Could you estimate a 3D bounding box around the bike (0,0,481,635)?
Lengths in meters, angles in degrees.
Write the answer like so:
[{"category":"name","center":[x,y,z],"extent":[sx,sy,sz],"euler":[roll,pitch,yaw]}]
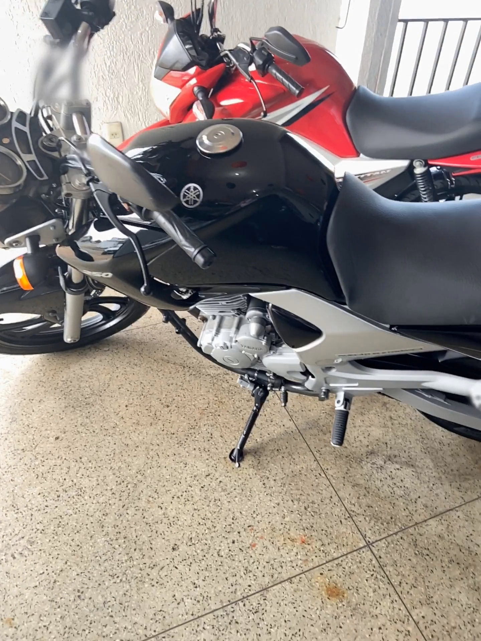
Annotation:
[{"category":"bike","center":[0.182,-0.067,1.232],"extent":[1.877,1.511,0.848],"euler":[4,38,0]}]
